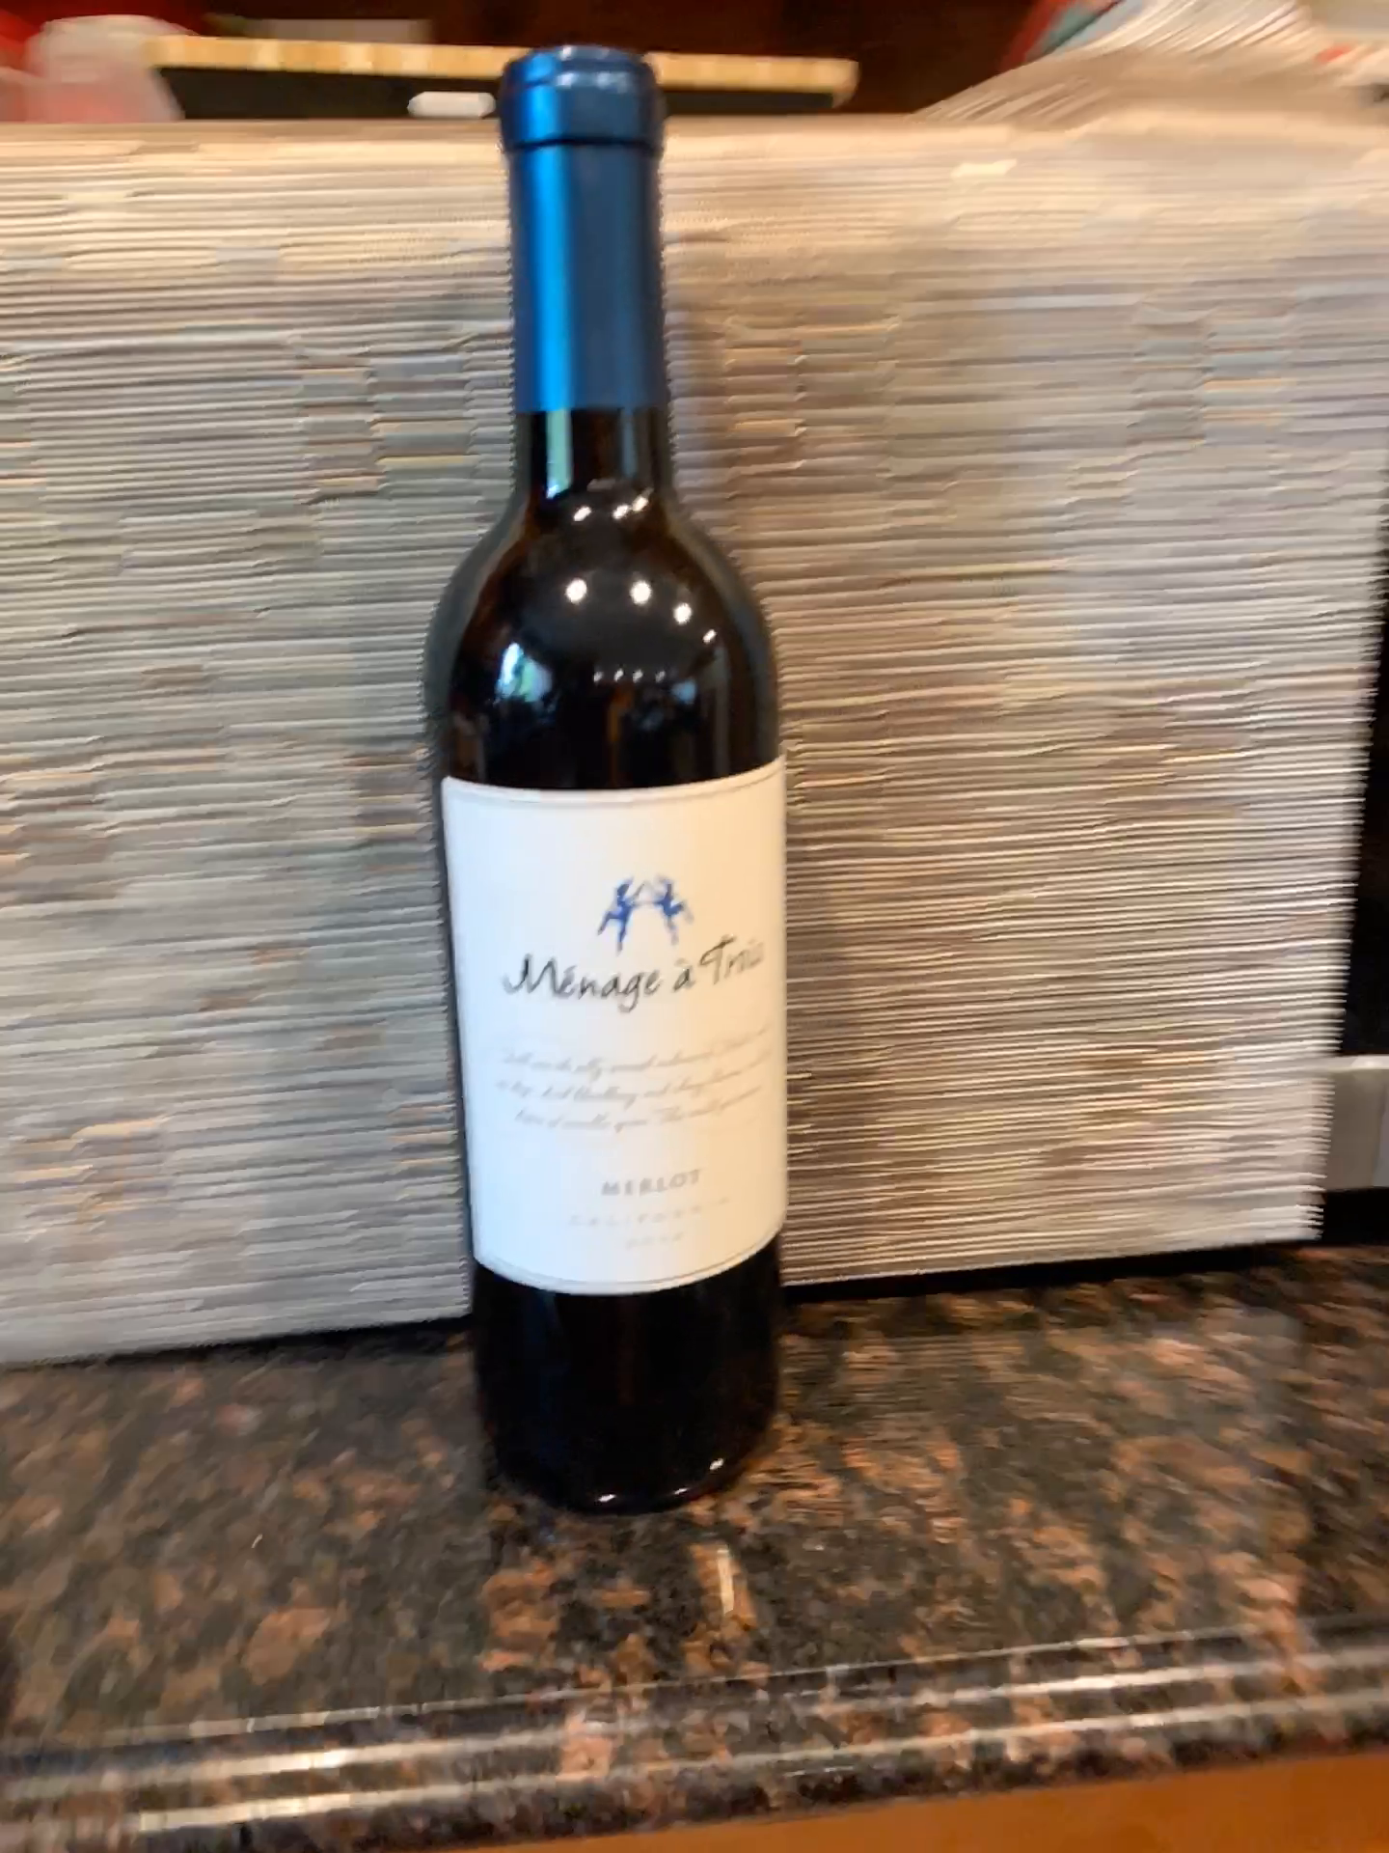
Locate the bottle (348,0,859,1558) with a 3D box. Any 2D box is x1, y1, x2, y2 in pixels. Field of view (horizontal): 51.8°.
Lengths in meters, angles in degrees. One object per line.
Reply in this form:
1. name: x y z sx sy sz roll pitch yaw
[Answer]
1. bottle: -0.017 -0.023 0.309 0.080 0.309 0.080 -1 18 0
